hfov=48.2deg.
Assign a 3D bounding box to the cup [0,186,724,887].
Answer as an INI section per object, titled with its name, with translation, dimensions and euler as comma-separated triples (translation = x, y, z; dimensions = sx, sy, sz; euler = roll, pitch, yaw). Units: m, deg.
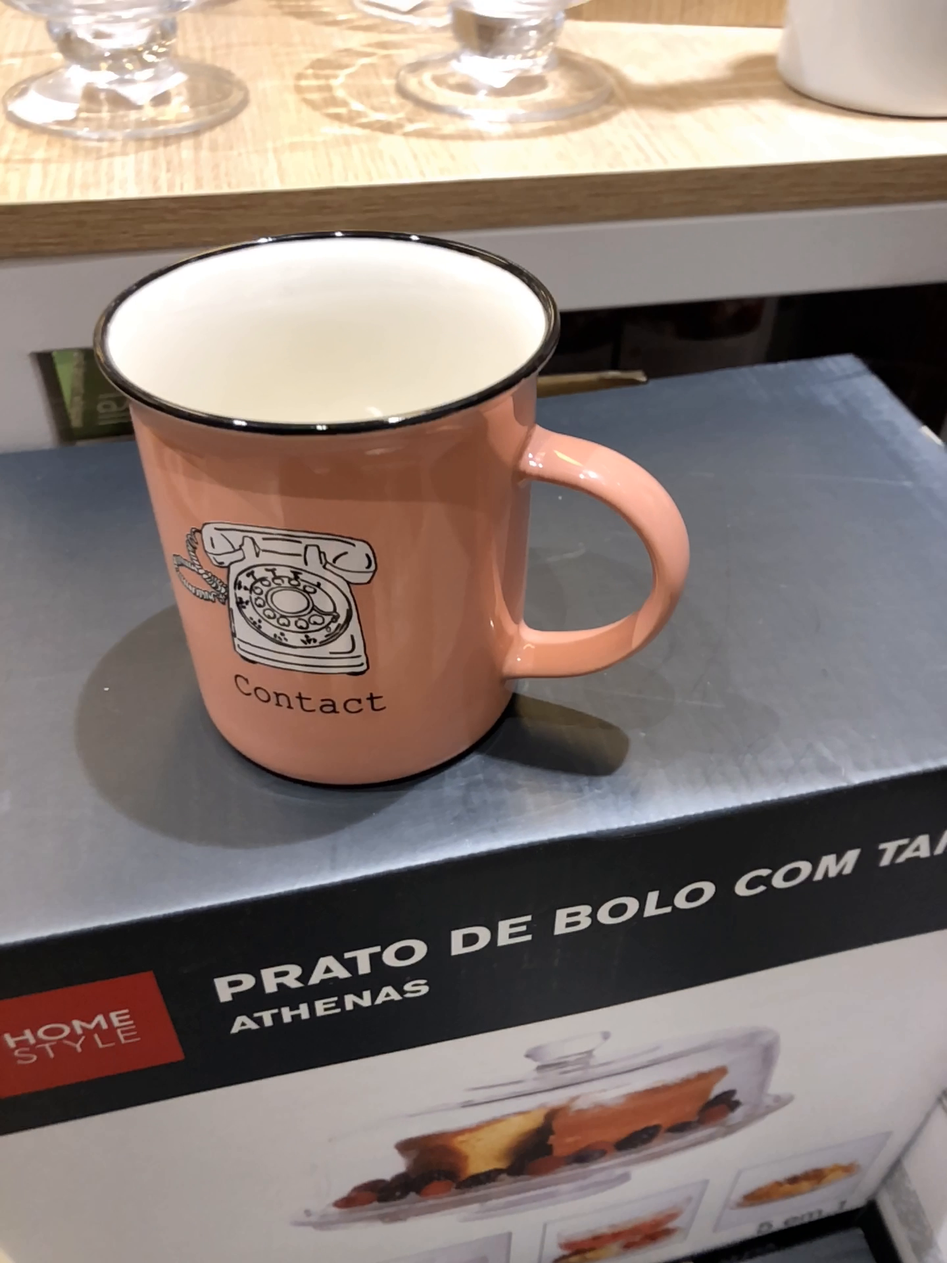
[cup]
translation = -0.017, -0.020, 0.204
dimensions = 0.110, 0.089, 0.081
euler = 9, 43, 8
